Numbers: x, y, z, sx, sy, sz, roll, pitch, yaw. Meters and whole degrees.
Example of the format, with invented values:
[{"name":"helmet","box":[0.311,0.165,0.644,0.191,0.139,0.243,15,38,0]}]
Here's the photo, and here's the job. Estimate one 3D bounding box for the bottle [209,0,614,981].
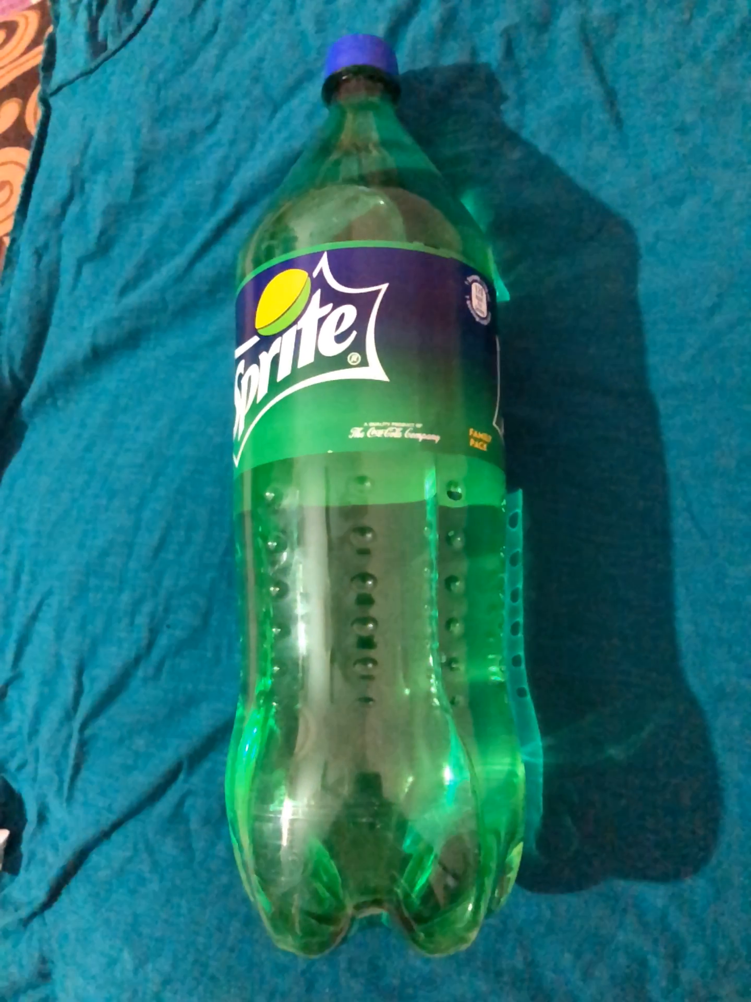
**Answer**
[{"name":"bottle","box":[0.008,-0.028,0.300,0.110,0.070,0.330,-7,79,28]}]
